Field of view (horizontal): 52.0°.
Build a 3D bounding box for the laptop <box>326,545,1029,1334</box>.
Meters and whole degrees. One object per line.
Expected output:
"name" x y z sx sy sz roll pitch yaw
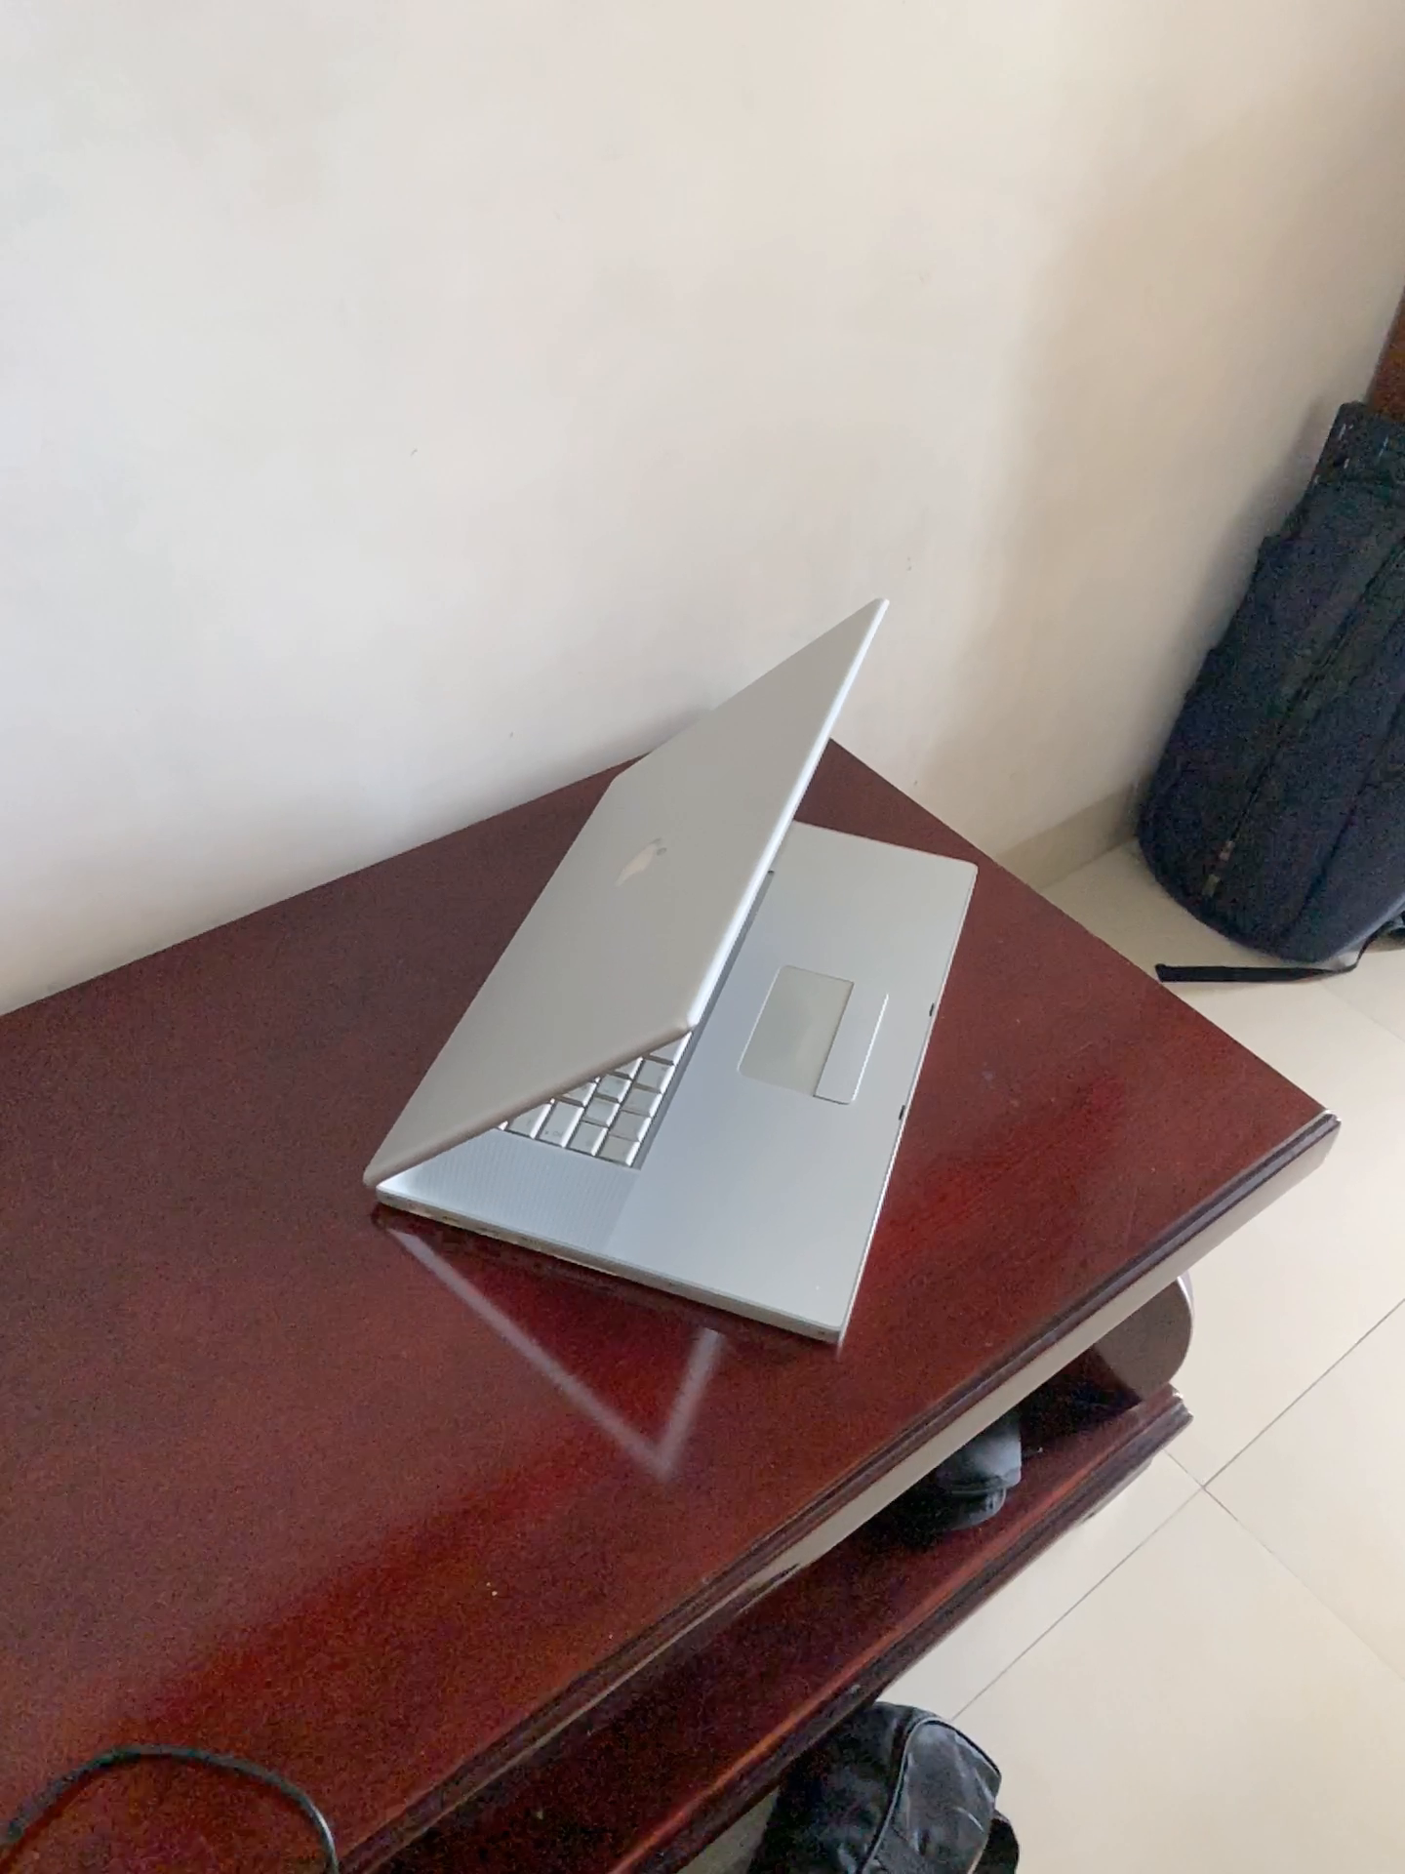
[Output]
"laptop" 0.012 -0.026 0.838 0.265 0.193 0.401 15 43 10
